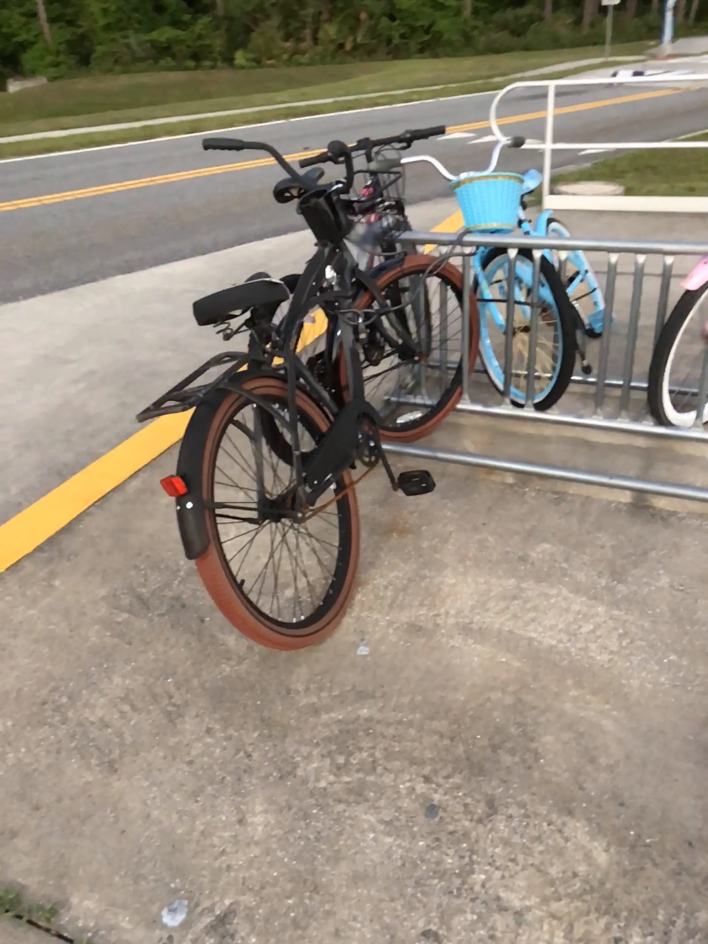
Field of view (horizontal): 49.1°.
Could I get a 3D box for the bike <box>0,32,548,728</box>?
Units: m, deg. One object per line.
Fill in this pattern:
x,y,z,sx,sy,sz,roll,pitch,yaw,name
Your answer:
-0.063,-0.447,2.231,0.829,1.117,1.730,8,37,21,bike
